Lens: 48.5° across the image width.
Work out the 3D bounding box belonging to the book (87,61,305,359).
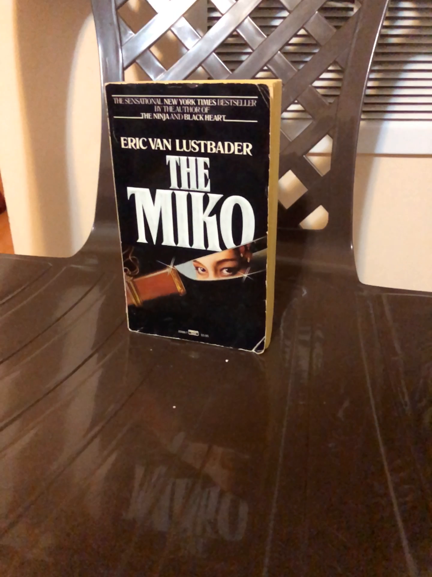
[{"bbox_3d":[-0.014,-0.050,0.307,0.120,0.169,0.040,8,21,15],"label":"book"}]
